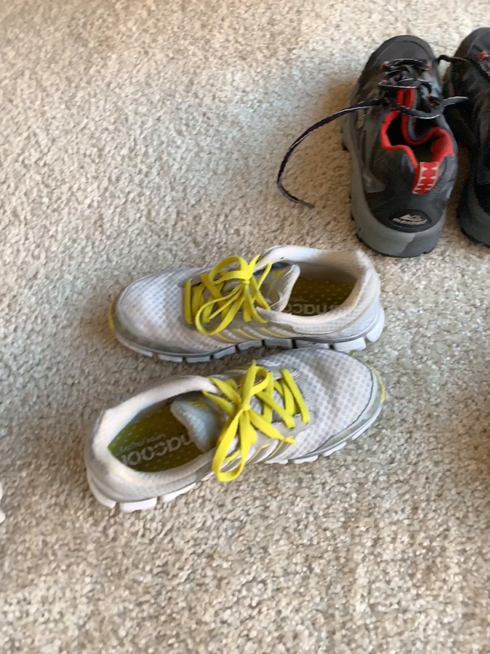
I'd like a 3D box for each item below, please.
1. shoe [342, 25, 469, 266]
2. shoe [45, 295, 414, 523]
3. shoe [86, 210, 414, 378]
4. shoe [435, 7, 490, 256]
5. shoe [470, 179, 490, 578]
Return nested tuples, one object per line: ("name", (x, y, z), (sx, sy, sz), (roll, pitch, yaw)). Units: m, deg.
("shoe", (0.166, -0.209, 0.561), (0.100, 0.090, 0.271), (4, 63, 3))
("shoe", (-0.016, 0.073, 0.445), (0.280, 0.090, 0.110), (-14, 63, -6))
("shoe", (0.002, -0.029, 0.476), (0.270, 0.090, 0.110), (-4, 62, -1))
("shoe", (0.281, -0.215, 0.535), (0.100, 0.090, 0.271), (4, 62, 3))
("shoe", (0.365, 0.039, 0.437), (0.120, 0.130, 0.330), (41, 70, 20))
